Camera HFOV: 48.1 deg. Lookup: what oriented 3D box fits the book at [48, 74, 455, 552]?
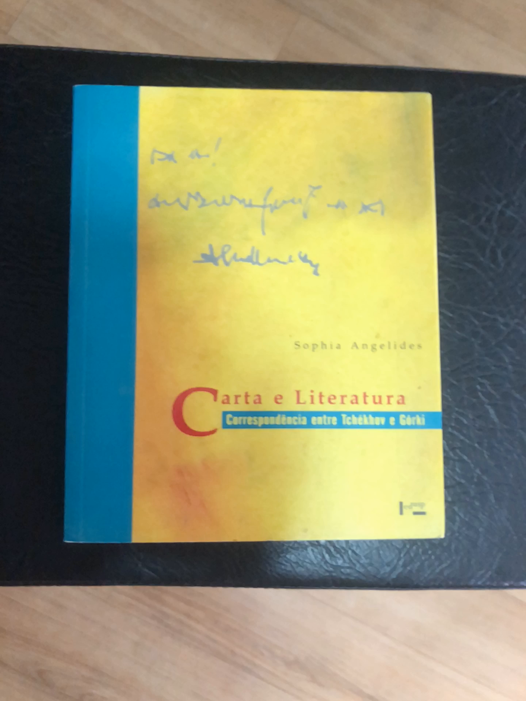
[{"bbox_3d":[-0.004,-0.018,0.269,0.173,0.024,0.208,0,86,-2],"label":"book"}]
